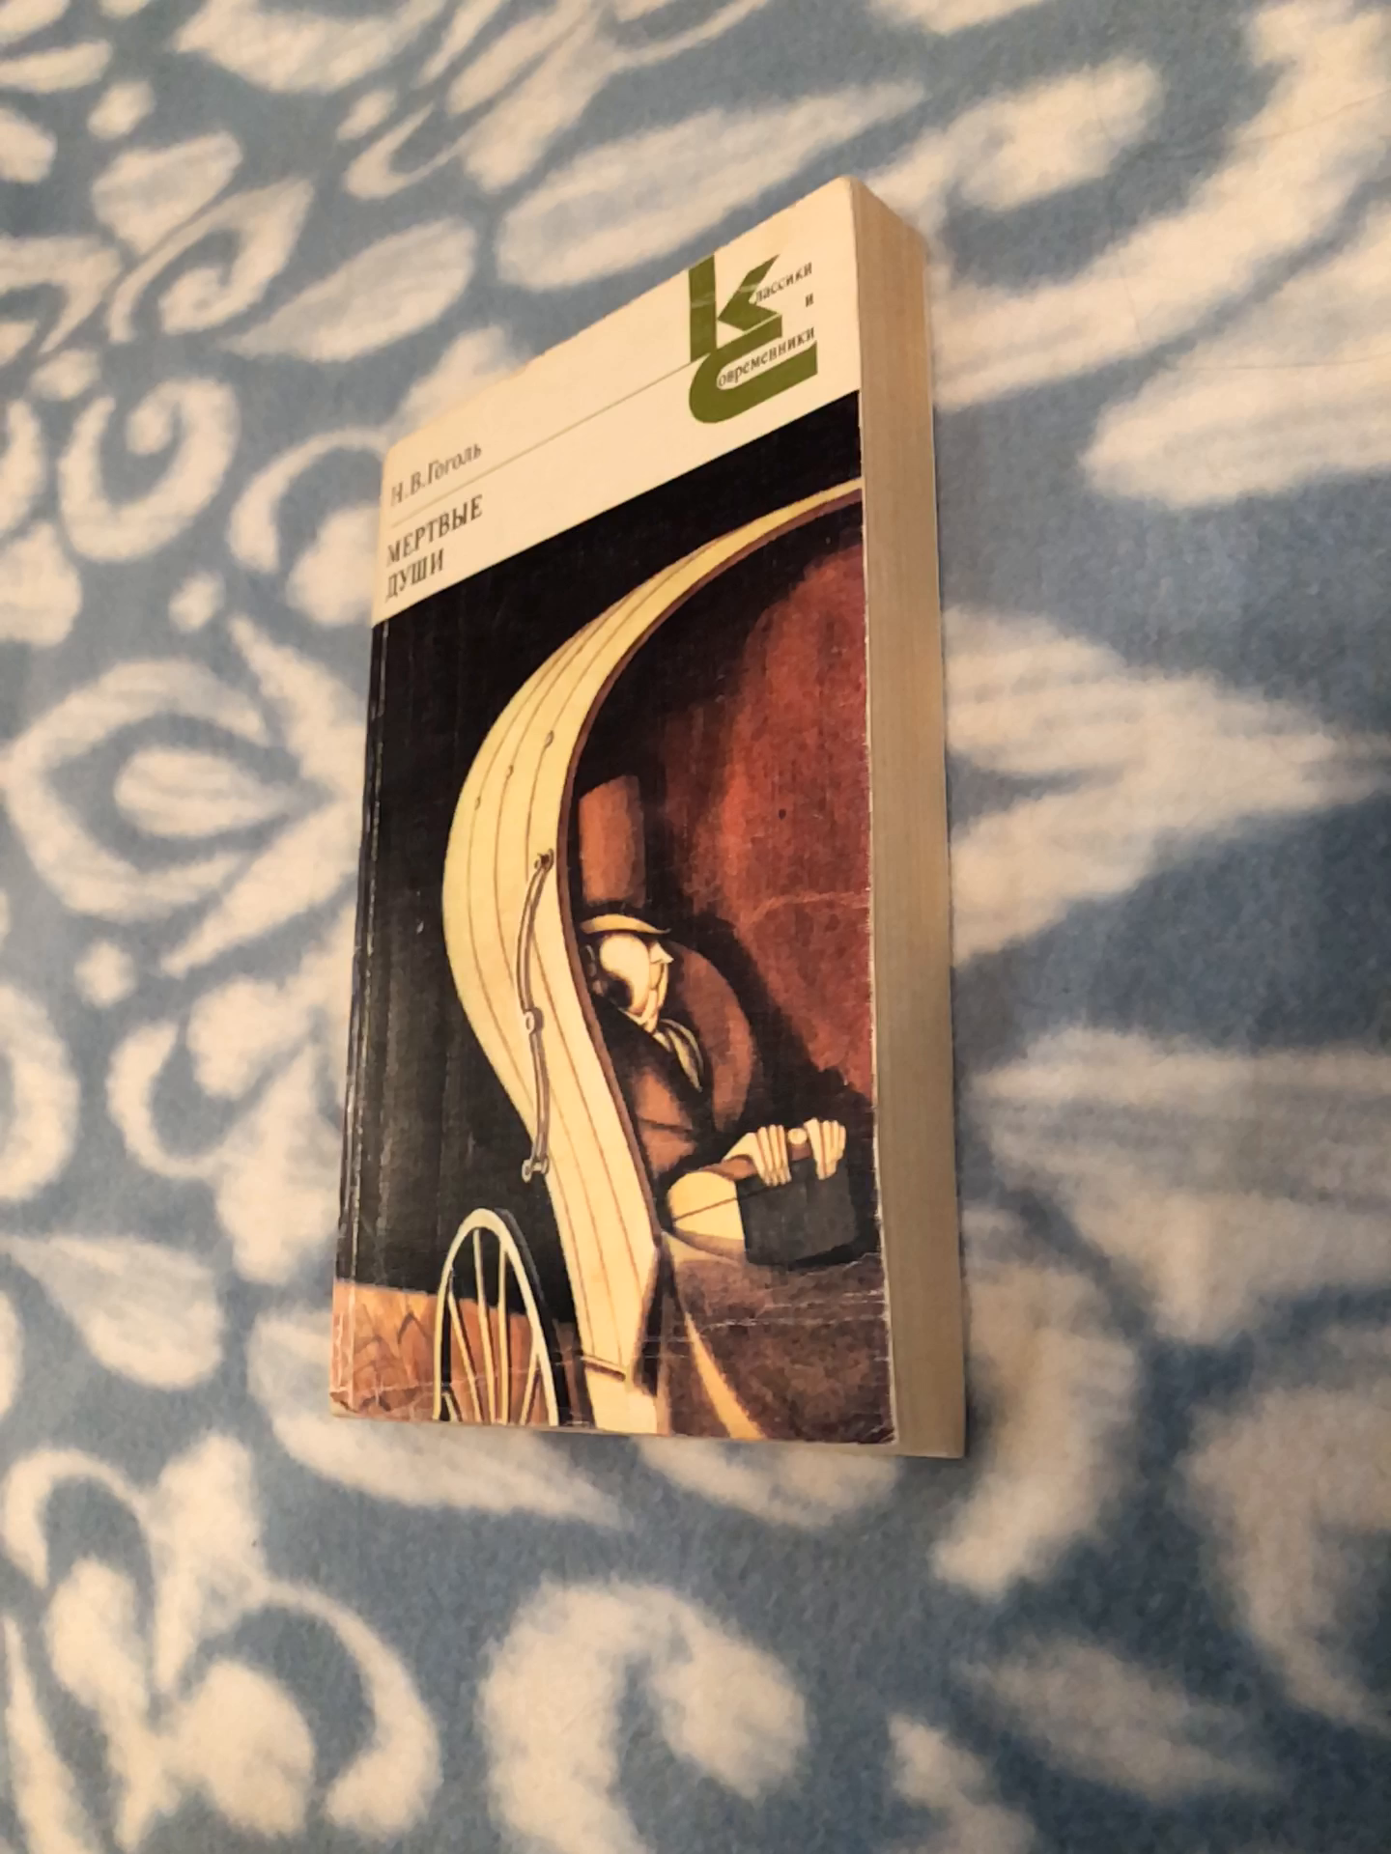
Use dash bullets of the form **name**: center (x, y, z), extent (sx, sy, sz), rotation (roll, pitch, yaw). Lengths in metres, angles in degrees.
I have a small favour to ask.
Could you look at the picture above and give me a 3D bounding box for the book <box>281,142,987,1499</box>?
- **book**: center (-0.016, -0.013, 0.264), extent (0.126, 0.025, 0.199), rotation (-13, 70, 40)
